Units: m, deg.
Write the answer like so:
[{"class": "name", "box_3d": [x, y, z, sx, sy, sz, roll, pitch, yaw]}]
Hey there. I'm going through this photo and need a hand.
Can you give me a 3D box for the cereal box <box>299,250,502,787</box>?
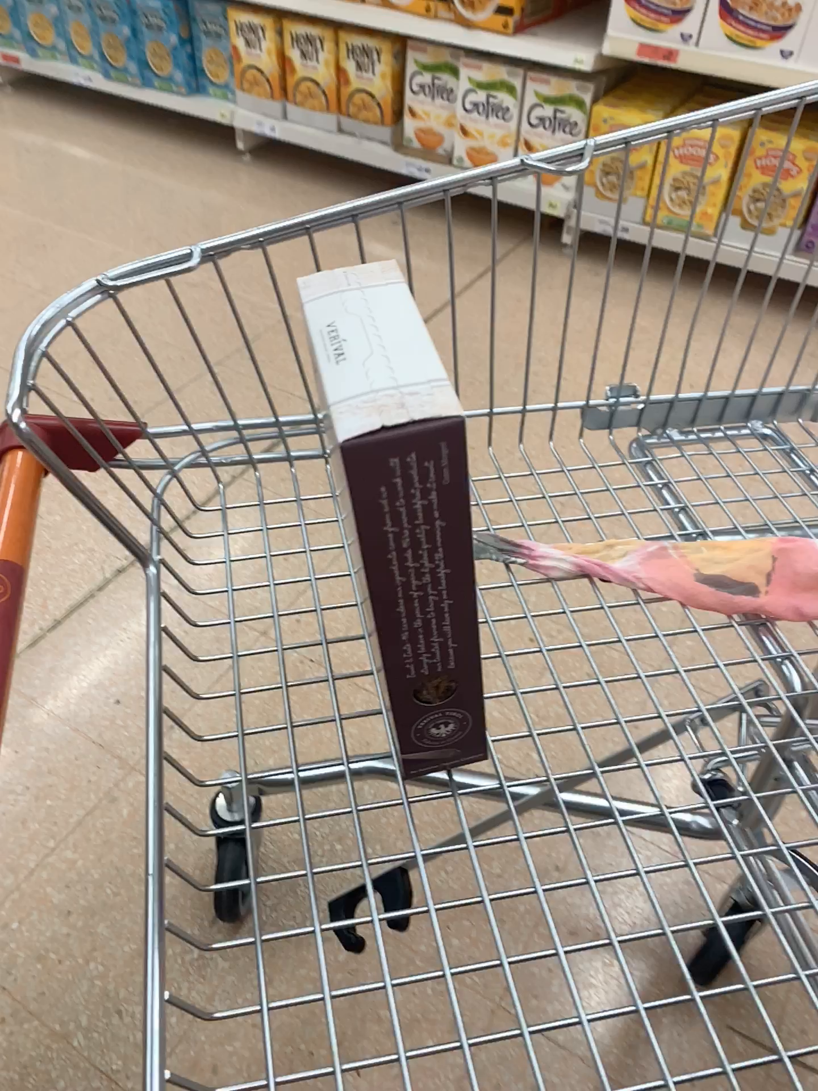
[{"class": "cereal box", "box_3d": [-0.001, -0.005, 0.407, 0.050, 0.218, 0.141, -12, 45, -4]}]
